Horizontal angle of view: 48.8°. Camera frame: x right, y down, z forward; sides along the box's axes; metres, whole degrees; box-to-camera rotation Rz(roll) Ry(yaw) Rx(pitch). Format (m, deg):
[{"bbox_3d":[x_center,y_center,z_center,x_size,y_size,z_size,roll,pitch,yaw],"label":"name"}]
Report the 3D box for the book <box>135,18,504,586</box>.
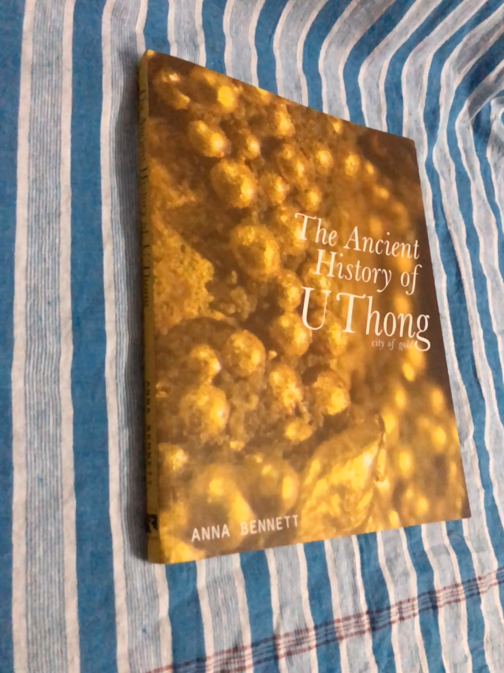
[{"bbox_3d":[0.047,-0.018,0.308,0.221,0.030,0.250,5,74,-34],"label":"book"}]
